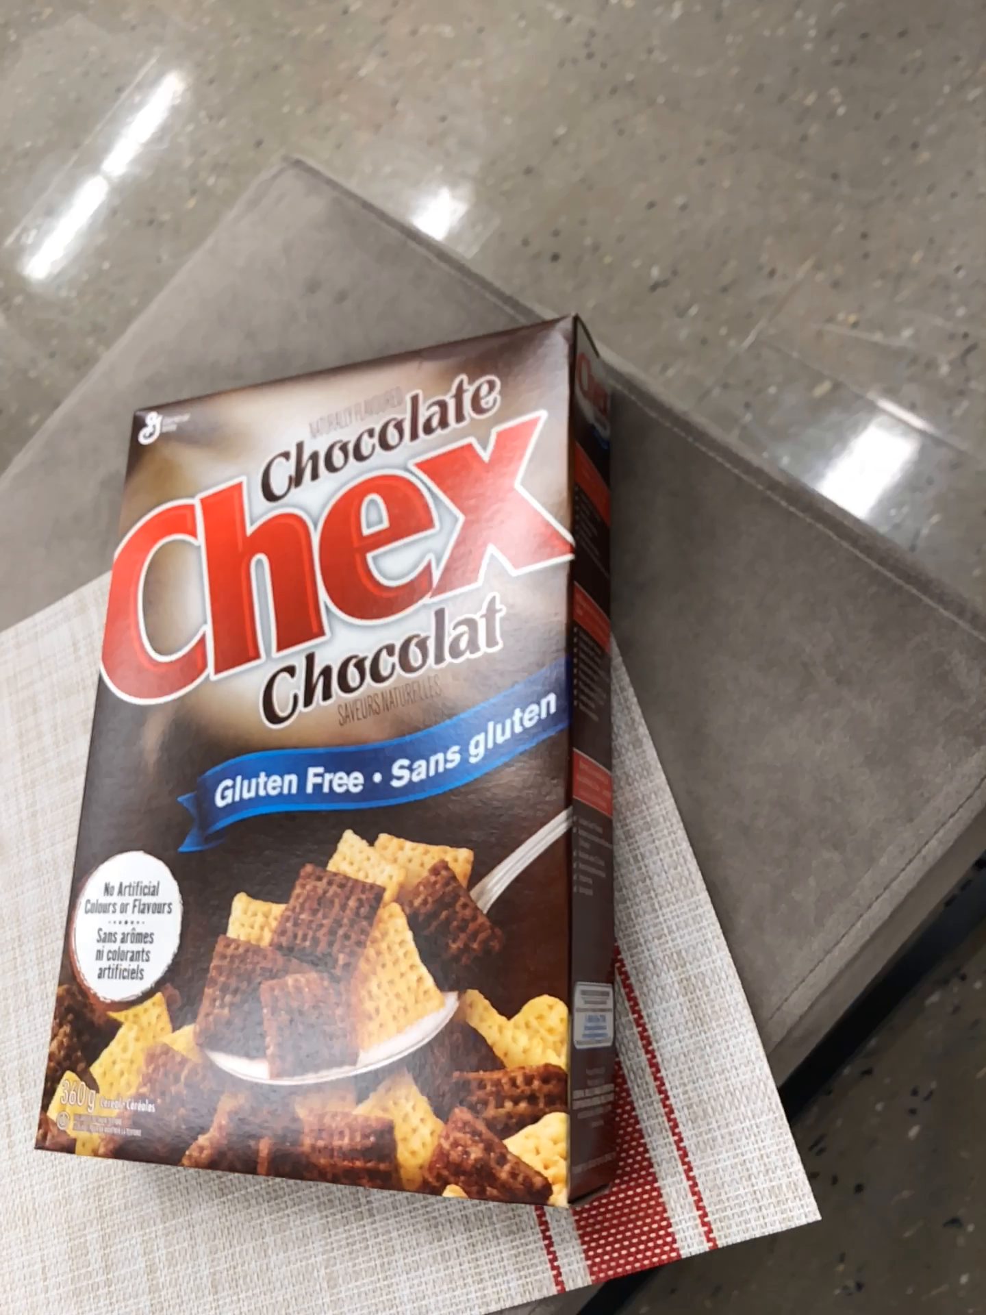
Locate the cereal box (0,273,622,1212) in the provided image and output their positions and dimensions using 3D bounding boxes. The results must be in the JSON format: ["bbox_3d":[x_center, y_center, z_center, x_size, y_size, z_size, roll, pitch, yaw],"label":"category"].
[{"bbox_3d":[-0.063,0.024,0.396,0.210,0.050,0.290,-6,71,23],"label":"cereal box"}]
